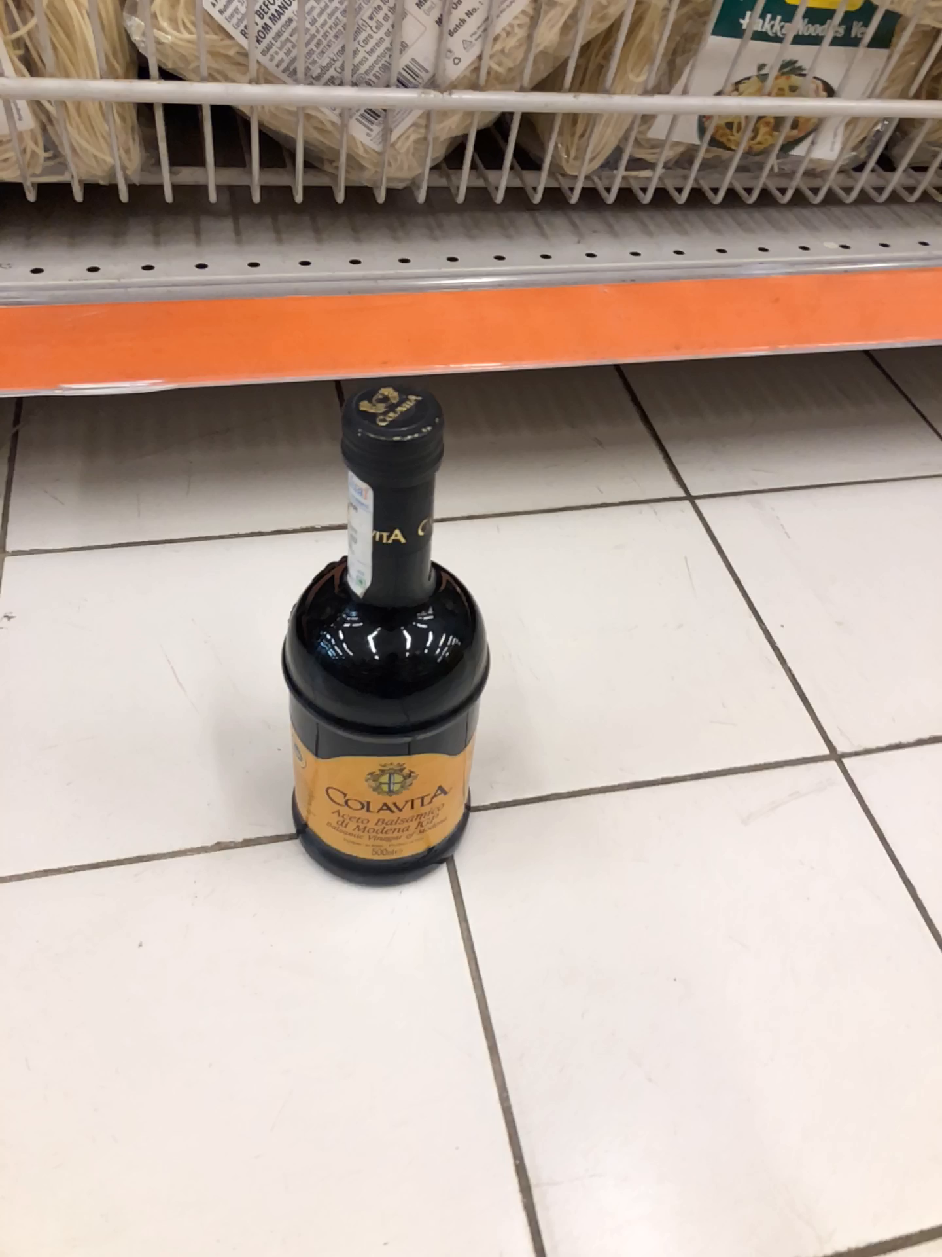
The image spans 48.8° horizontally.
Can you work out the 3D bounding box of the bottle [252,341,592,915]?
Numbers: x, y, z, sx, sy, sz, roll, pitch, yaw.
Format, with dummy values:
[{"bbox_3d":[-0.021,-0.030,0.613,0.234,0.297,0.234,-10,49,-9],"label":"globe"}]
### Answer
[{"bbox_3d":[-0.026,0.008,0.381,0.090,0.199,0.090,3,45,-3],"label":"bottle"}]
